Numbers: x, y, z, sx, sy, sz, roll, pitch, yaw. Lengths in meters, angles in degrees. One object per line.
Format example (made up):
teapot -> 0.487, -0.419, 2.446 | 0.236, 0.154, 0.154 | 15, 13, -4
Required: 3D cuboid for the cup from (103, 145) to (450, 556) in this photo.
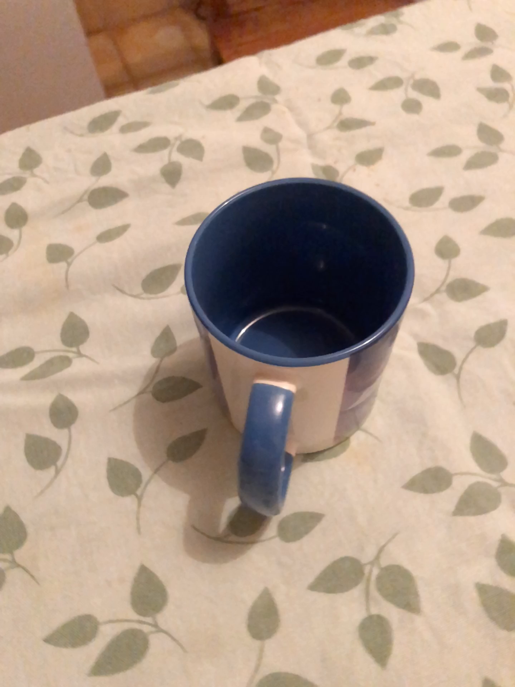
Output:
cup -> 0.014, 0.006, 0.235 | 0.090, 0.100, 0.121 | 12, 63, 8
